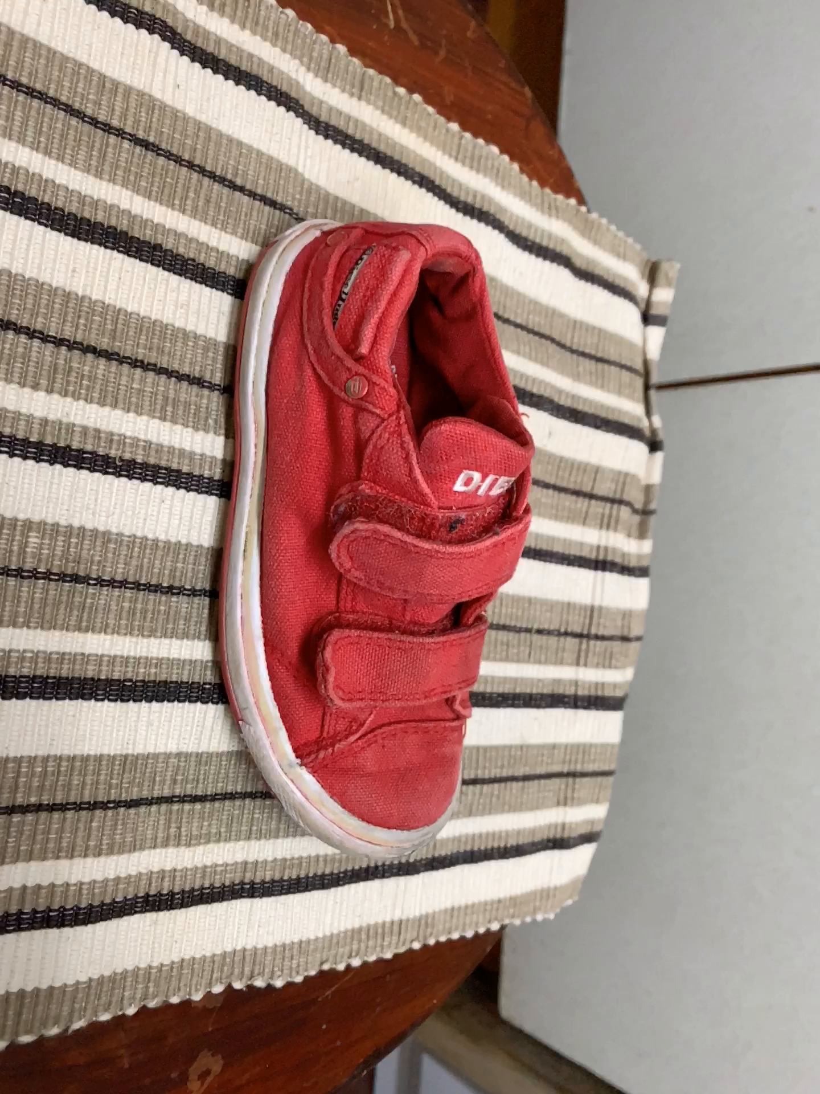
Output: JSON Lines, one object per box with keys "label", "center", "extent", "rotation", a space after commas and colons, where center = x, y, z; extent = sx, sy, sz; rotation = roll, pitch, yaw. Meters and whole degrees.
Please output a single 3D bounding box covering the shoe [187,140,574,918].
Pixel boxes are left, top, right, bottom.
{"label": "shoe", "center": [-0.007, -0.005, 0.239], "extent": [0.081, 0.070, 0.170], "rotation": [-4, 94, -41]}
